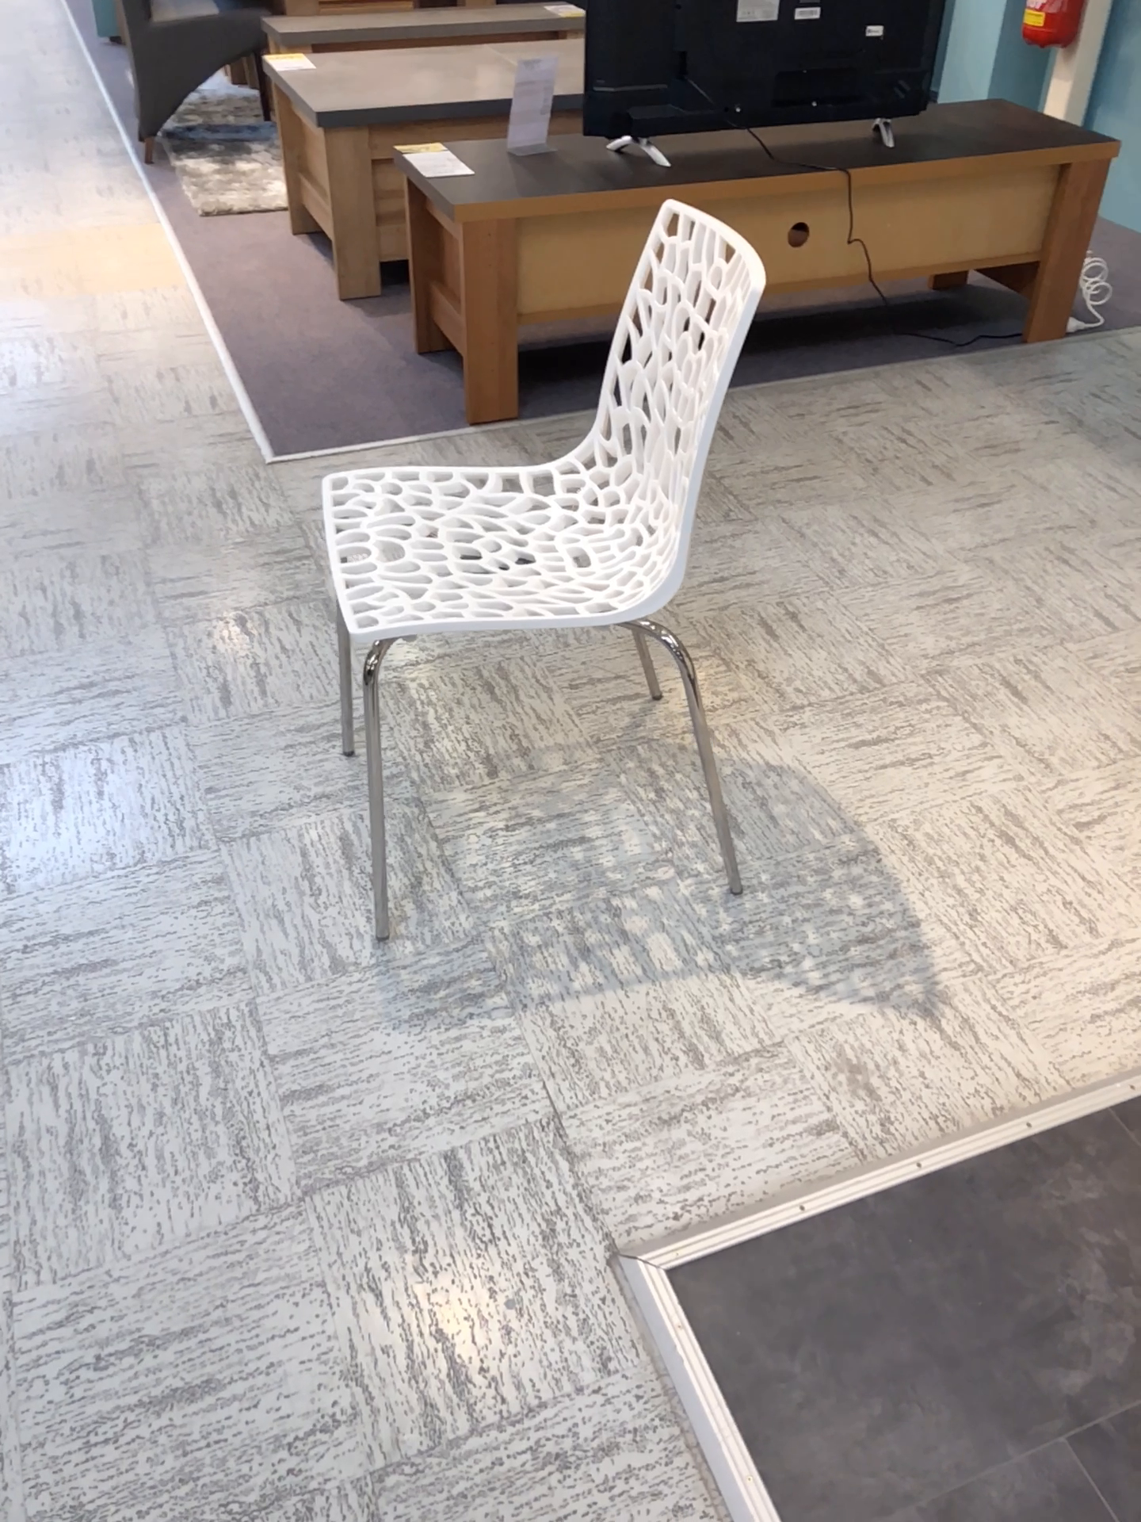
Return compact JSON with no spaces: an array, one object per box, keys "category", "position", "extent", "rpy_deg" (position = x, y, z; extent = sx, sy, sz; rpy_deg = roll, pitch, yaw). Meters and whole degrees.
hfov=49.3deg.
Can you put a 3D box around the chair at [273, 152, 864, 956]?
[{"category":"chair","position":[-0.033,-0.238,1.498],"extent":[0.511,0.785,0.452],"rpy_deg":[-8,40,-10]}]
